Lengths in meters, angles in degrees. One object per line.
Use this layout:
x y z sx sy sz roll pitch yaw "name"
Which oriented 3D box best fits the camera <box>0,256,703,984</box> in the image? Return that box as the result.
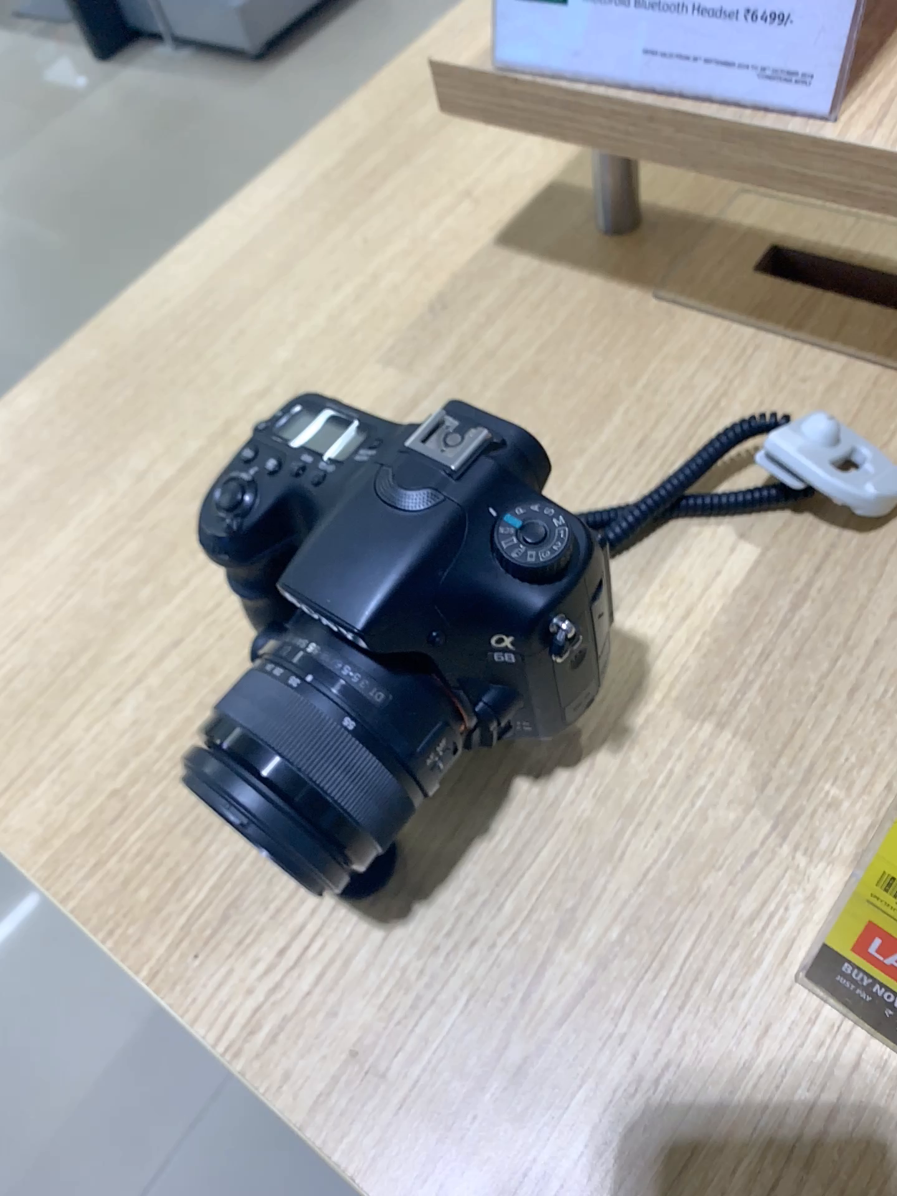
-0.027 -0.003 0.299 0.140 0.090 0.170 30 67 29 "camera"
